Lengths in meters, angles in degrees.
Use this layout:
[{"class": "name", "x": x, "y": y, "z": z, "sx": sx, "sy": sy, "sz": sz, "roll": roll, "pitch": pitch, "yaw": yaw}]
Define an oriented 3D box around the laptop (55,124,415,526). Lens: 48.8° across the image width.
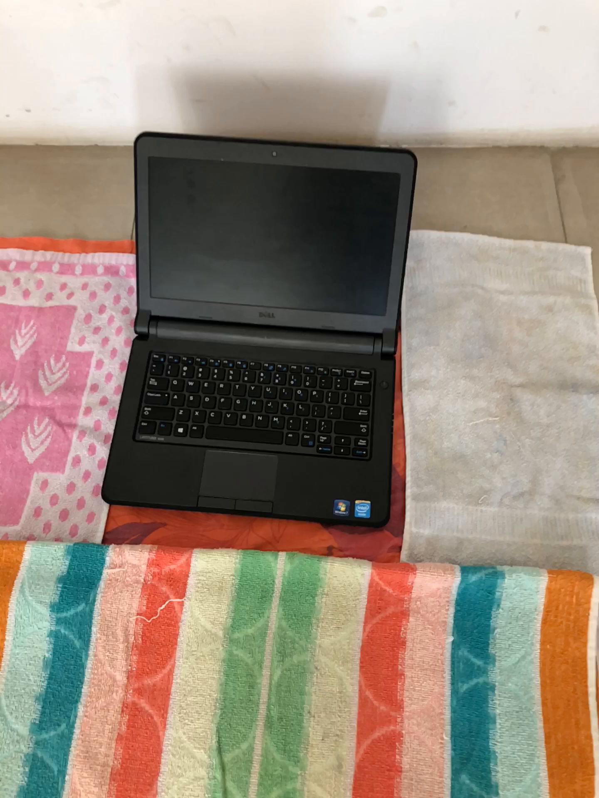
[{"class": "laptop", "x": -0.045, "y": -0.085, "z": 0.728, "sx": 0.313, "sy": 0.143, "sz": 0.392, "roll": 5, "pitch": 68, "yaw": 2}]
